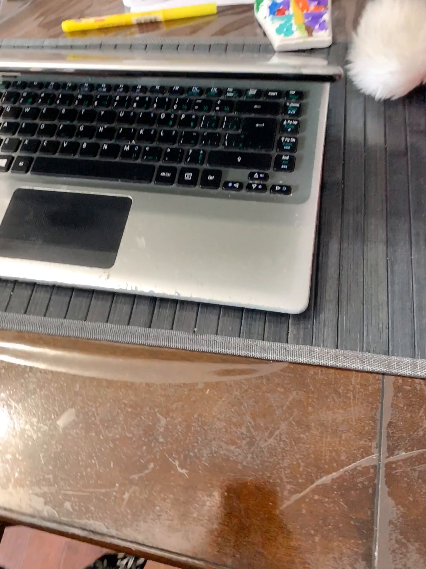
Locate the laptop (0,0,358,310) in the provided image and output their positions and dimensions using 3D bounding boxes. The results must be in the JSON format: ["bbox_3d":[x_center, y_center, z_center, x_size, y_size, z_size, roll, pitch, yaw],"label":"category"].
[{"bbox_3d":[-0.091,-0.133,0.315,0.343,0.141,0.225,6,67,10],"label":"laptop"}]
